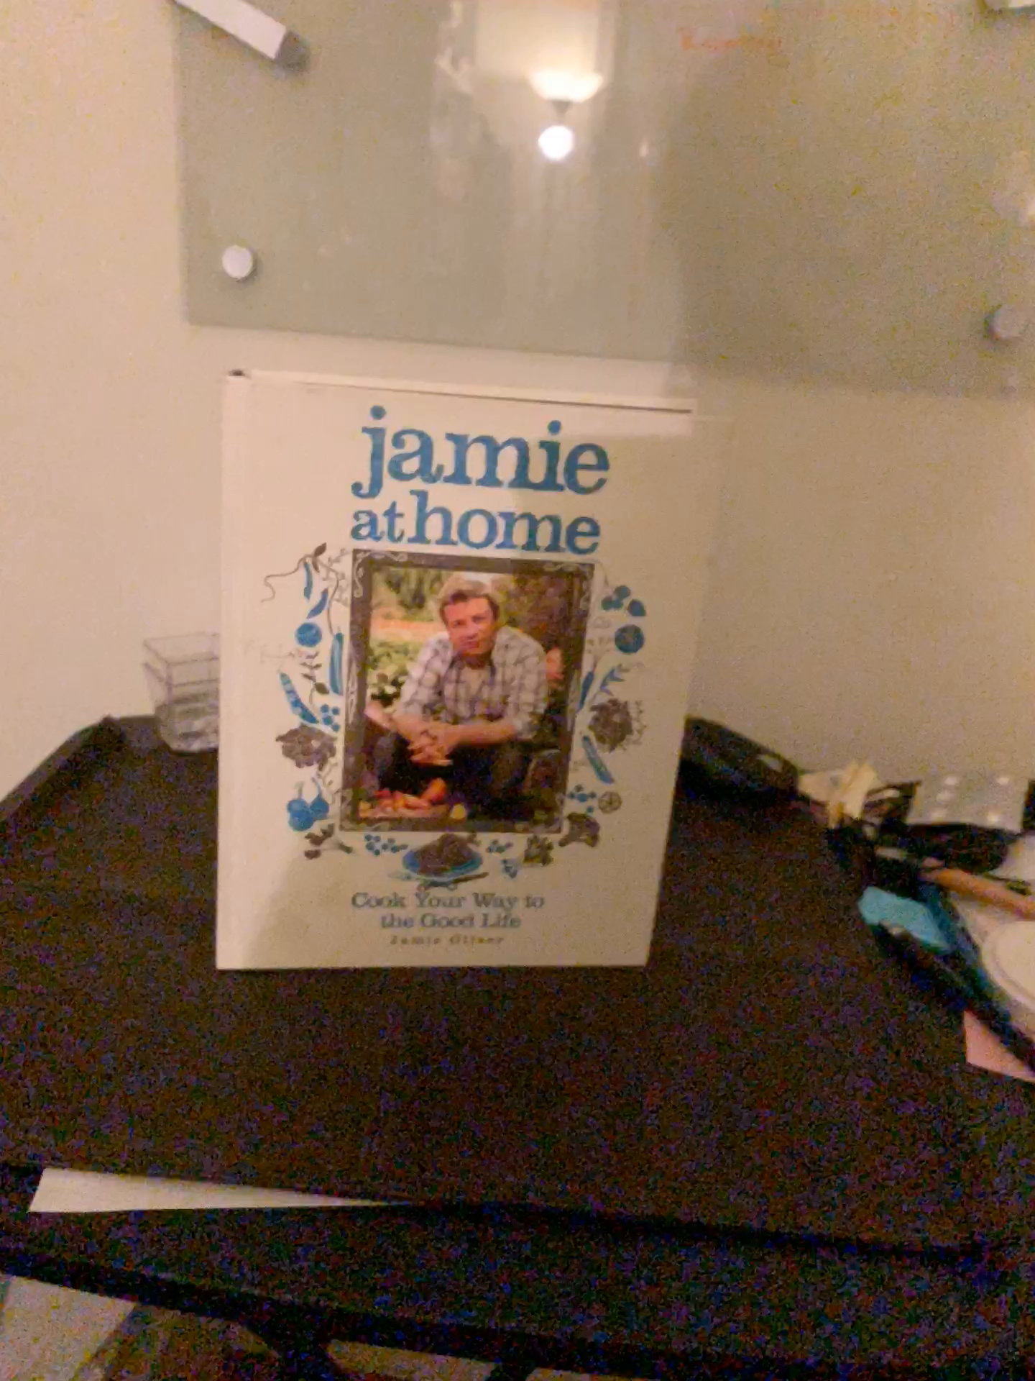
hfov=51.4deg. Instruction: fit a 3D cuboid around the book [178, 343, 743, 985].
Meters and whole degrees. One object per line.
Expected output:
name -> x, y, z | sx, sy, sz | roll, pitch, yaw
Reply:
book -> -0.031, -0.001, 0.469 | 0.210, 0.269, 0.050 | 2, 20, -8
